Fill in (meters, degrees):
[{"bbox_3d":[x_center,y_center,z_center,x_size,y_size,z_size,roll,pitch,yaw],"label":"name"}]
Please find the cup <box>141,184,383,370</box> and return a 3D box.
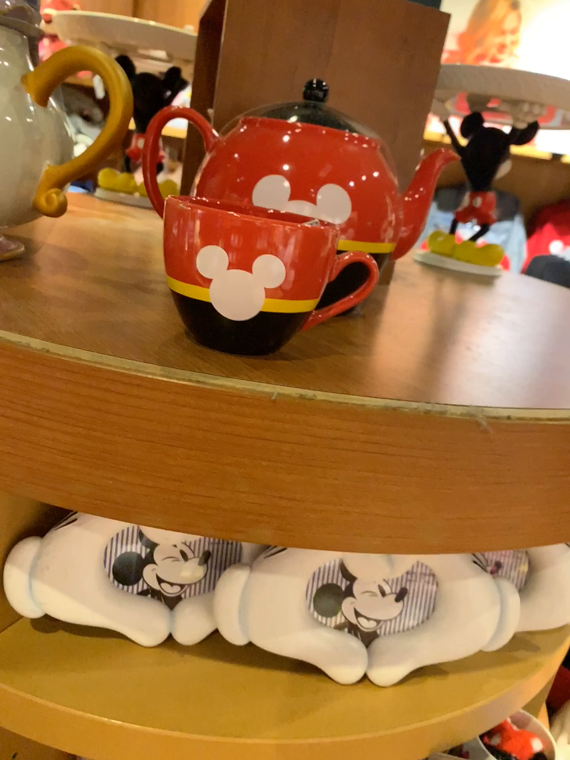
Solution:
[{"bbox_3d":[-0.009,-0.057,0.299,0.100,0.065,0.078,11,19,3],"label":"cup"}]
